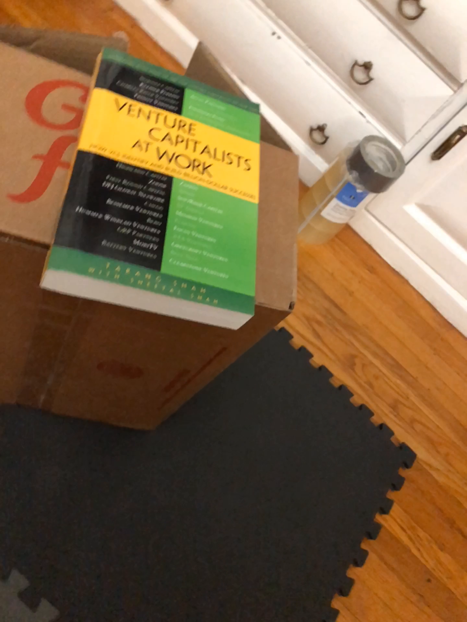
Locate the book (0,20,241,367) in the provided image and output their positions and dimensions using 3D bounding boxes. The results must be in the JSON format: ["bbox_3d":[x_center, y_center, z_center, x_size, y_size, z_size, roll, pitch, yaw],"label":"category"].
[{"bbox_3d":[-0.080,-0.098,0.405,0.160,0.040,0.261,13,61,-19],"label":"book"}]
